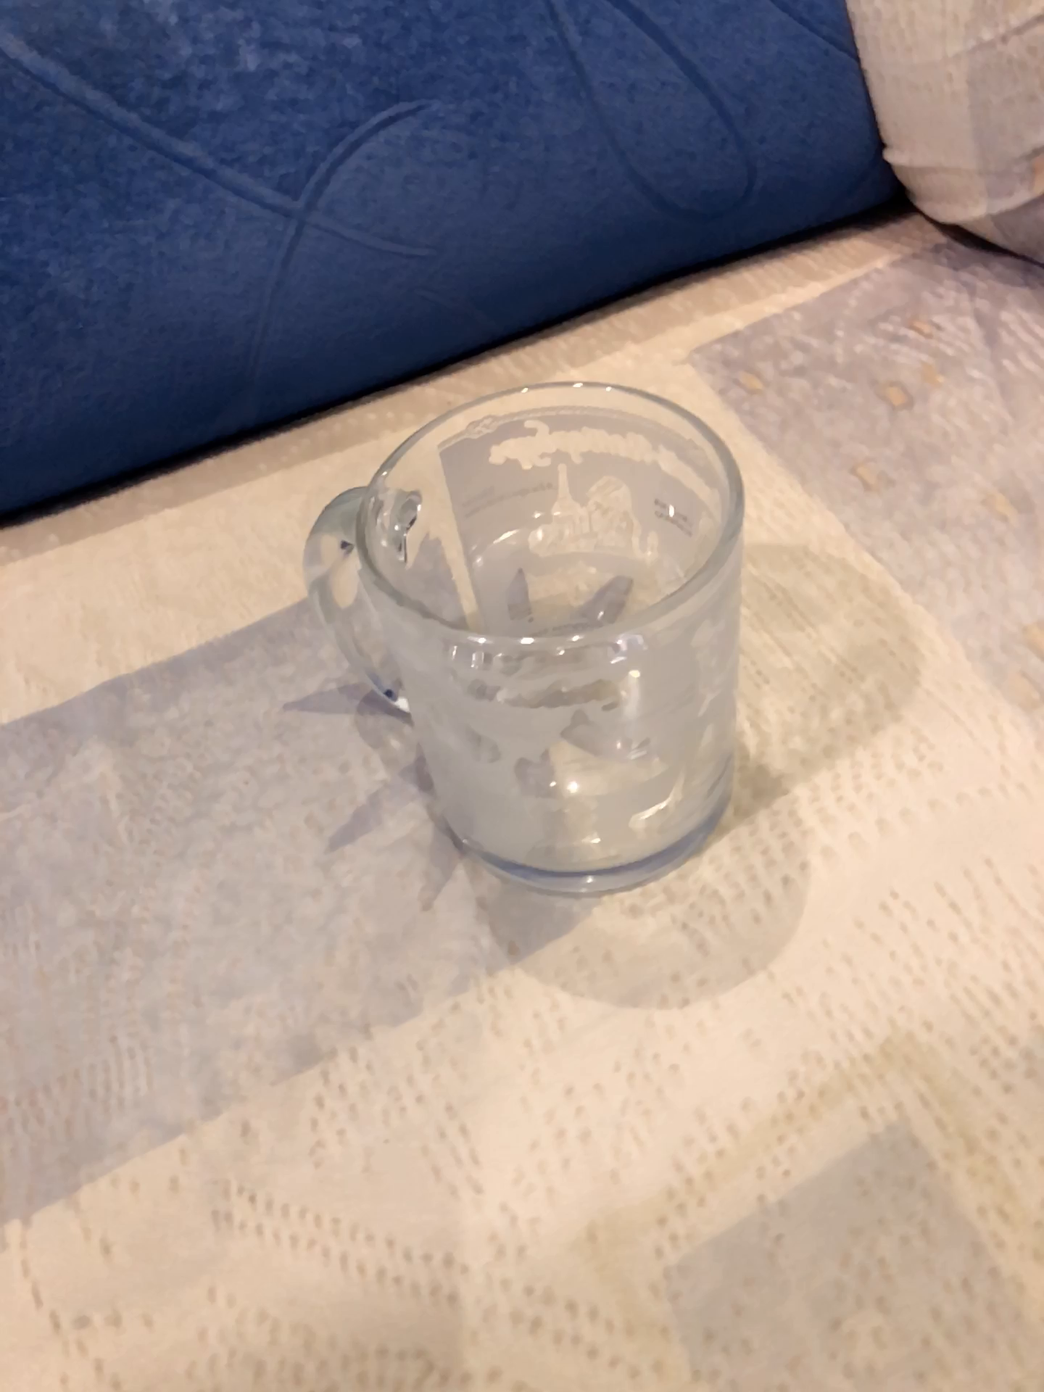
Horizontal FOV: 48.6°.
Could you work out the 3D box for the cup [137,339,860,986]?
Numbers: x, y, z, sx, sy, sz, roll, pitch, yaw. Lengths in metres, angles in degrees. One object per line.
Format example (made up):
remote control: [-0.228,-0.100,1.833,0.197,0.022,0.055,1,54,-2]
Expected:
cup: [0.000,-0.012,0.265,0.120,0.080,0.090,17,54,22]
